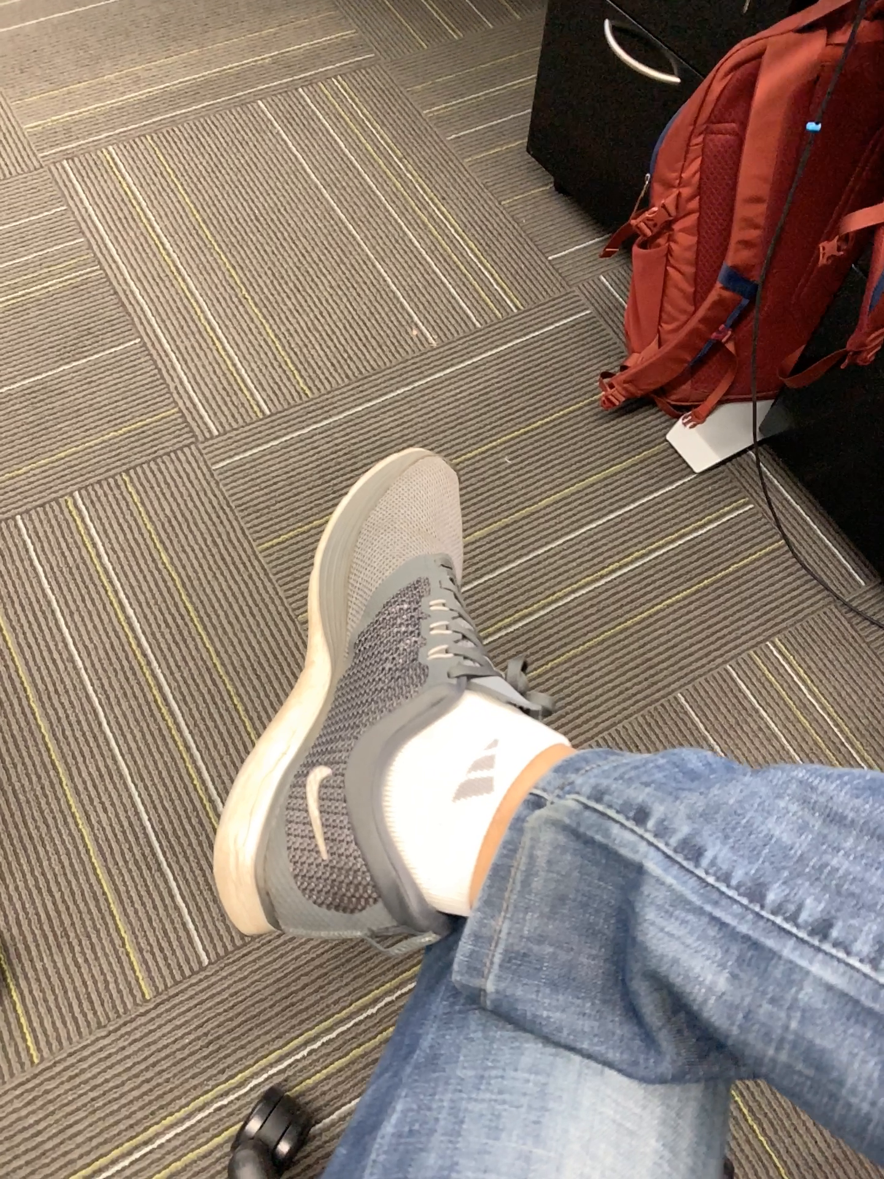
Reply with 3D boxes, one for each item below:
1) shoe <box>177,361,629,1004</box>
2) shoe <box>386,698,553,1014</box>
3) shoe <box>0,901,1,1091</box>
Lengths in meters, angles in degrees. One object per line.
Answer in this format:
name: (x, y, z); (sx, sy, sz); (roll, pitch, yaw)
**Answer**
shoe: (-0.001, 0.041, 0.480); (0.142, 0.115, 0.295); (-8, 54, 31)
shoe: (0.021, 0.272, 0.944); (0.117, 0.074, 0.293); (-8, 64, -7)
shoe: (-0.598, 0.394, 0.877); (0.276, 0.117, 0.112); (-3, 55, -12)
